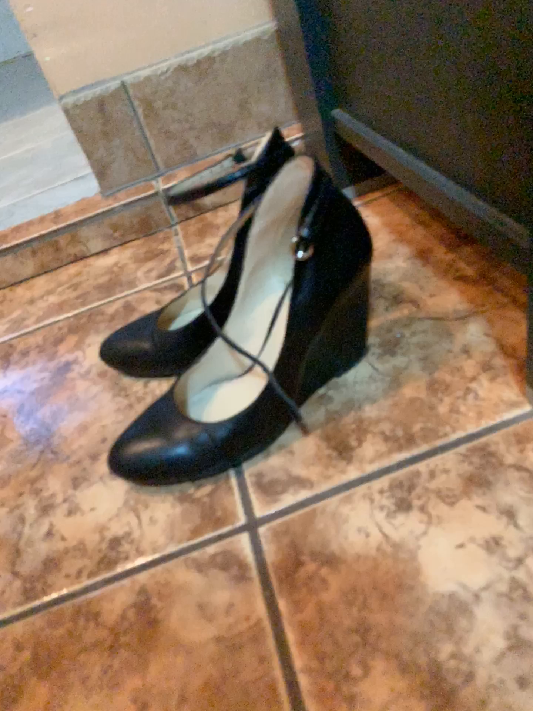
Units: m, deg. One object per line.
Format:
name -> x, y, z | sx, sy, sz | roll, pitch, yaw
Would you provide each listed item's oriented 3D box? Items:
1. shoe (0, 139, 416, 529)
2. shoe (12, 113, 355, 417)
shoe -> -0.026, -0.017, 0.337 | 0.209, 0.140, 0.087 | -29, 39, -10
shoe -> -0.052, -0.064, 0.419 | 0.200, 0.159, 0.079 | -19, 38, 2
